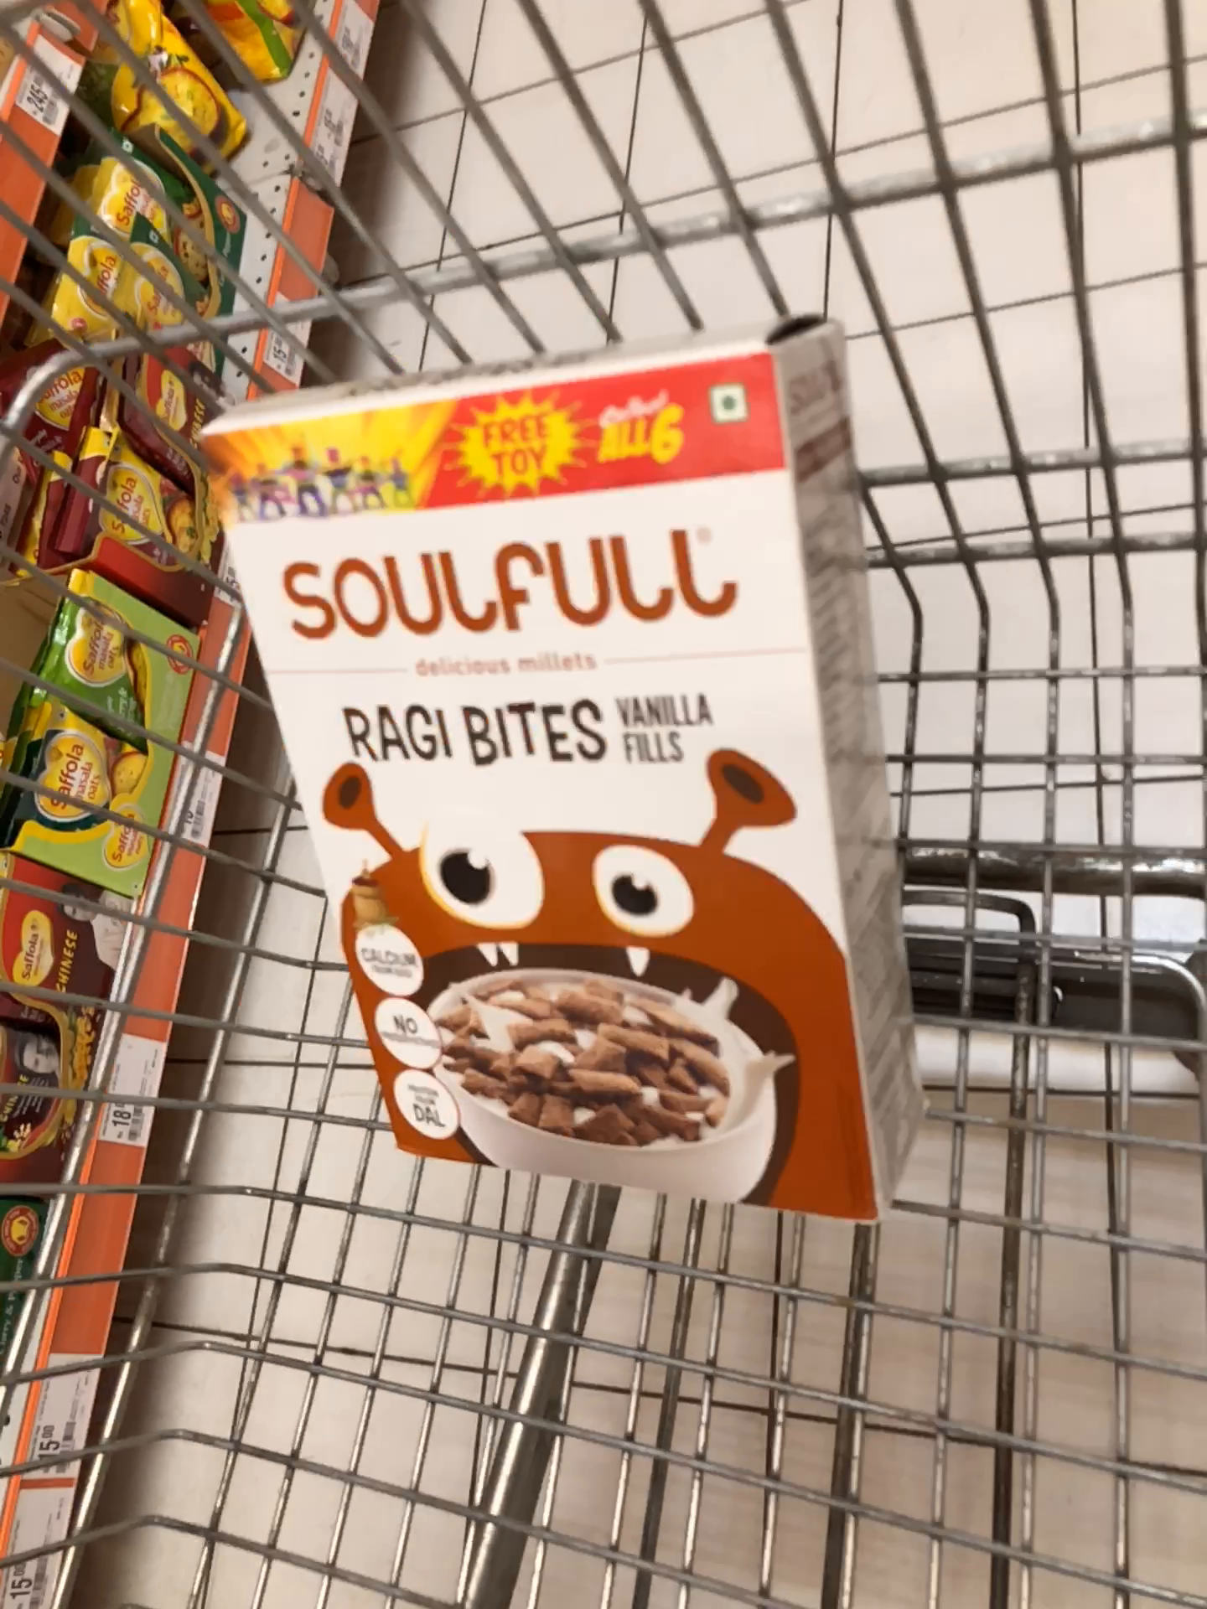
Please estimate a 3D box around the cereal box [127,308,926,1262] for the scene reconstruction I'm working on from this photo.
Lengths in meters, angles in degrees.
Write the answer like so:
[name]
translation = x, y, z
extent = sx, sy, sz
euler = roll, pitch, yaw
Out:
[cereal box]
translation = -0.011, 0.001, 0.393
extent = 0.180, 0.249, 0.070
euler = 1, 26, 25
